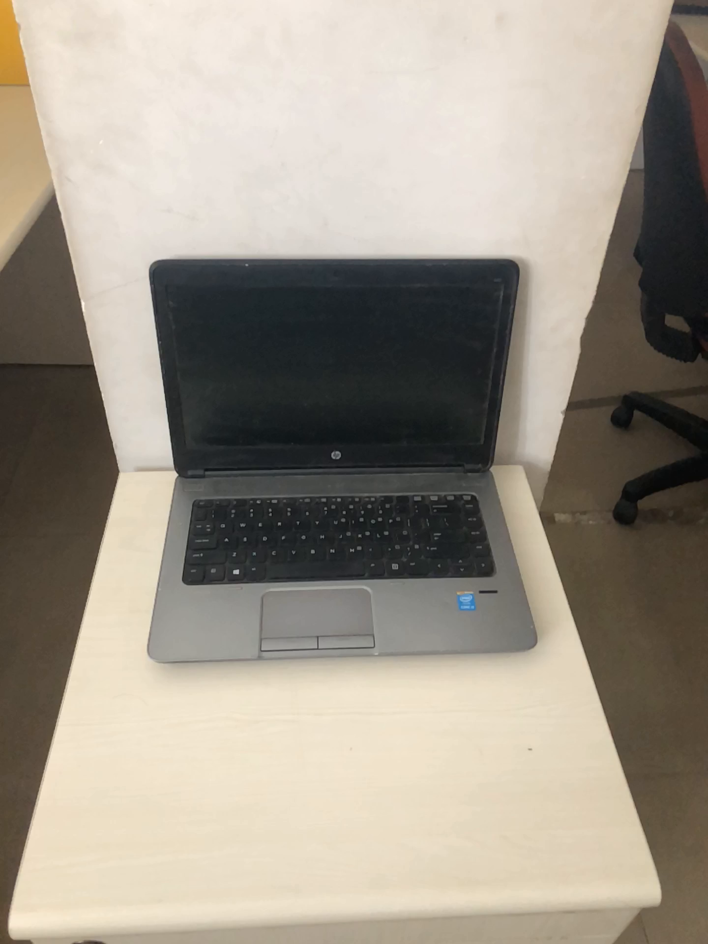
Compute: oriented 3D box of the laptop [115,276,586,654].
[{"bbox_3d":[-0.005,-0.013,0.658,0.304,0.209,0.238,-1,42,-3],"label":"laptop"}]
